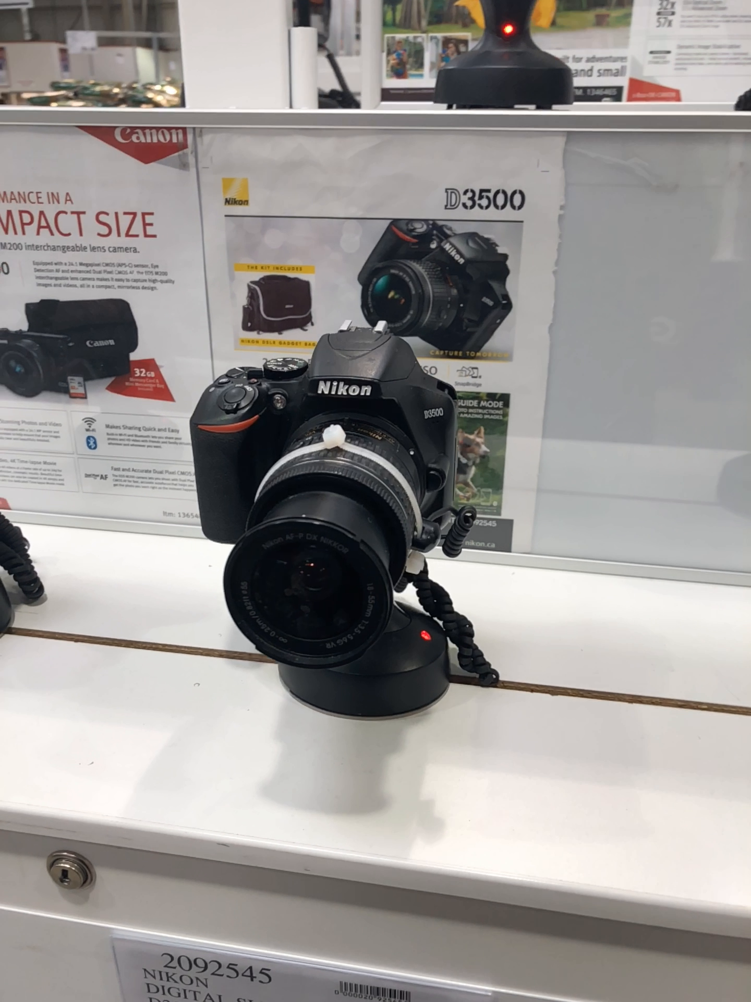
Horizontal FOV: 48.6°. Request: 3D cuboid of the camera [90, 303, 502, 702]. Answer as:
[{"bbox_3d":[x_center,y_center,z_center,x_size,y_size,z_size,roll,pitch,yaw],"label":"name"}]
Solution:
[{"bbox_3d":[-0.018,-0.016,0.387,0.140,0.110,0.191,3,24,6],"label":"camera"}]
